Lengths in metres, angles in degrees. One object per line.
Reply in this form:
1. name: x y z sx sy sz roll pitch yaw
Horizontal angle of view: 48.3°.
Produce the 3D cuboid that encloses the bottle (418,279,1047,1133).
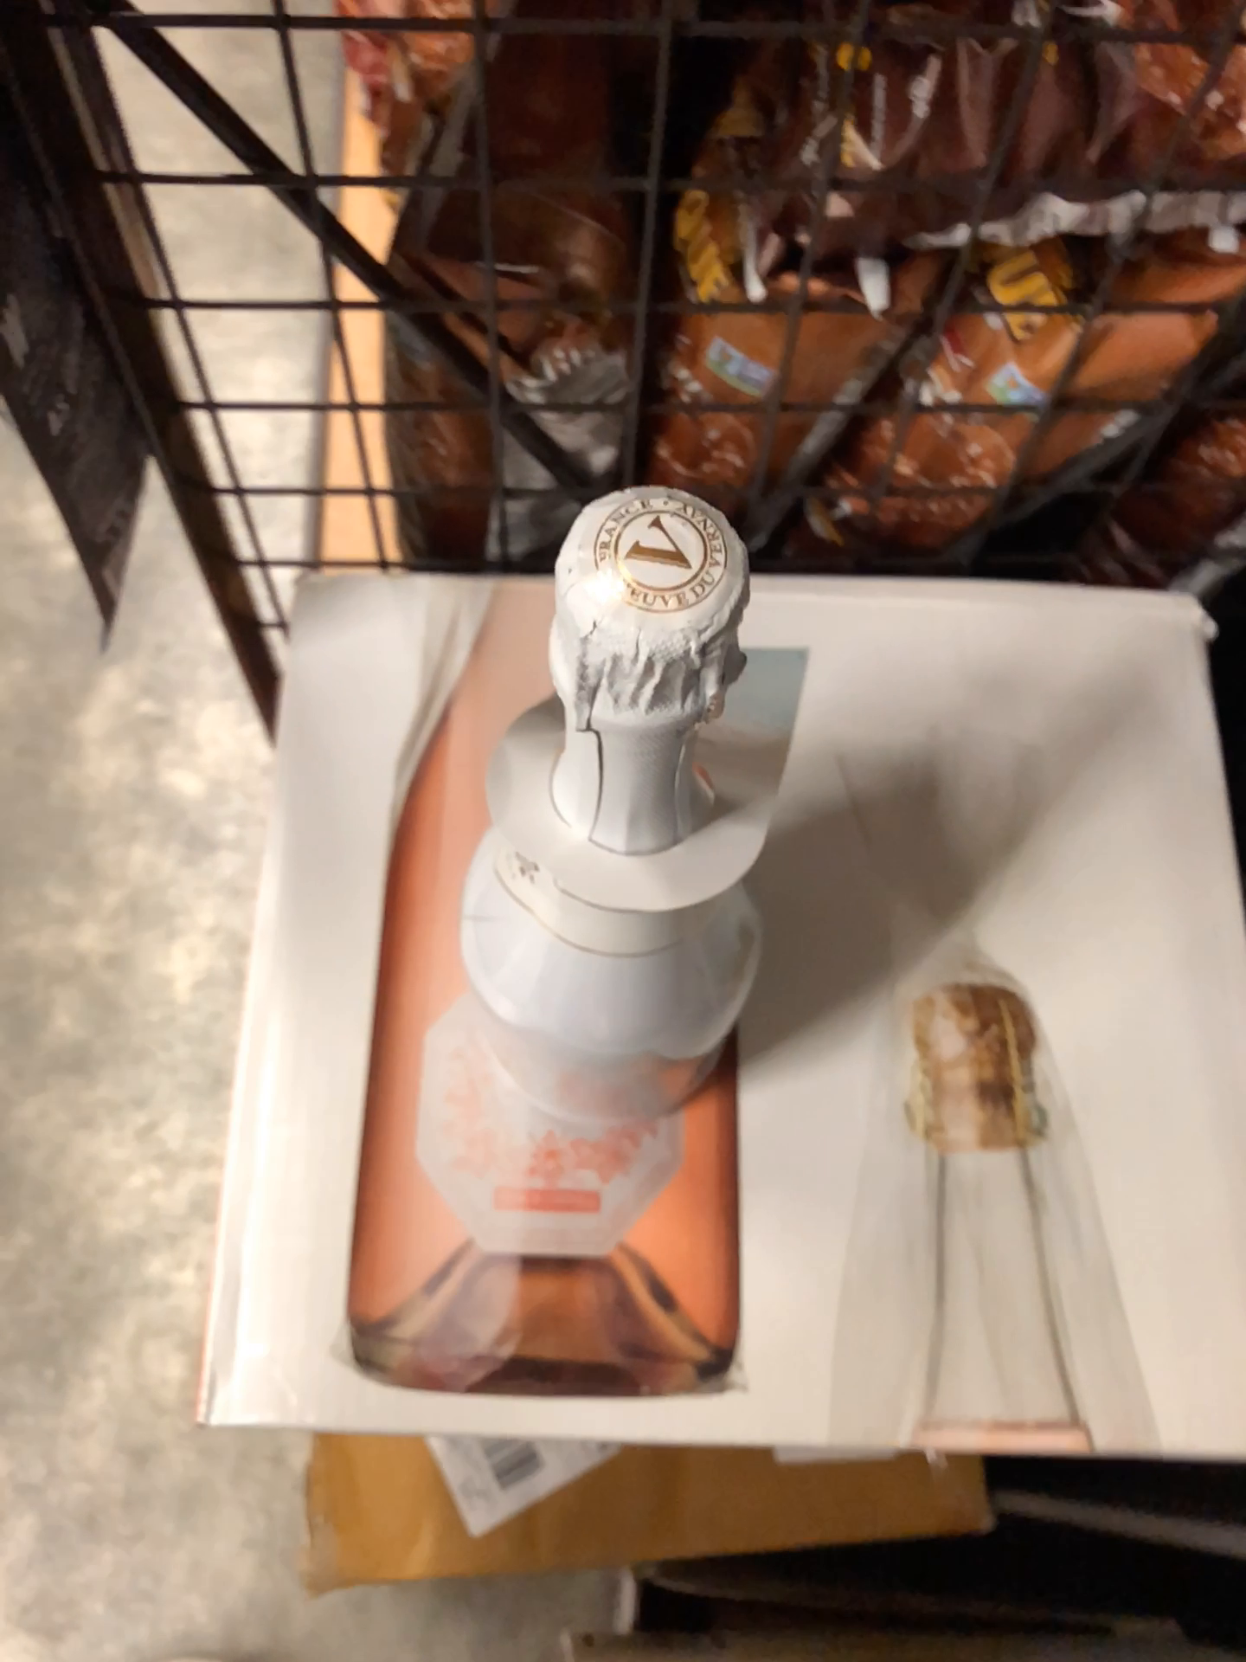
1. bottle: 0.006 0.005 0.365 0.094 0.311 0.086 1 67 -3
